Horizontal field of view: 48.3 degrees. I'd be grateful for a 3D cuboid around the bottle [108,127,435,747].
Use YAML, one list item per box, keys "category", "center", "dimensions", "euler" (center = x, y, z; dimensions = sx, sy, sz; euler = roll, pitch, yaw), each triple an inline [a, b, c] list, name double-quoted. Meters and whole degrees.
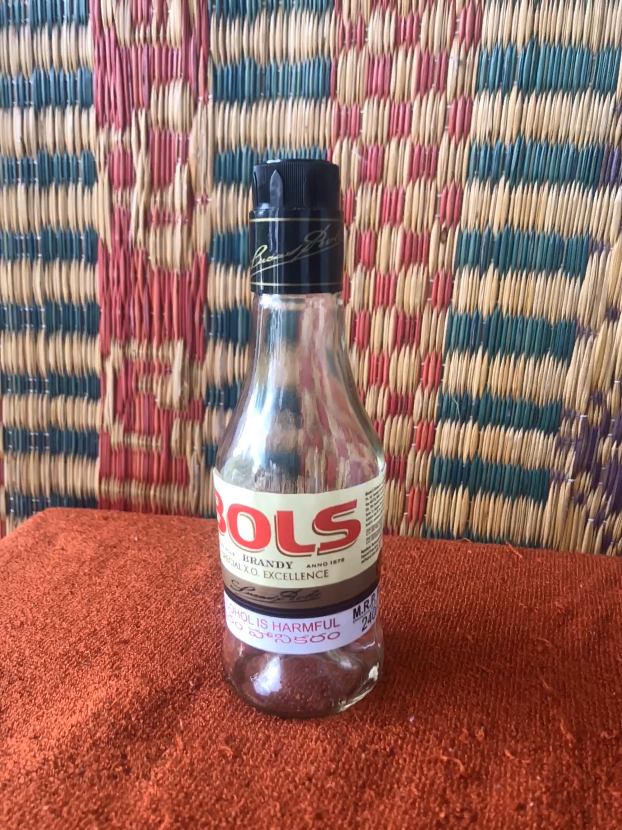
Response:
- category: "bottle"
  center: [-0.007, 0.004, 0.207]
  dimensions: [0.070, 0.159, 0.060]
  euler: [5, 17, 16]
